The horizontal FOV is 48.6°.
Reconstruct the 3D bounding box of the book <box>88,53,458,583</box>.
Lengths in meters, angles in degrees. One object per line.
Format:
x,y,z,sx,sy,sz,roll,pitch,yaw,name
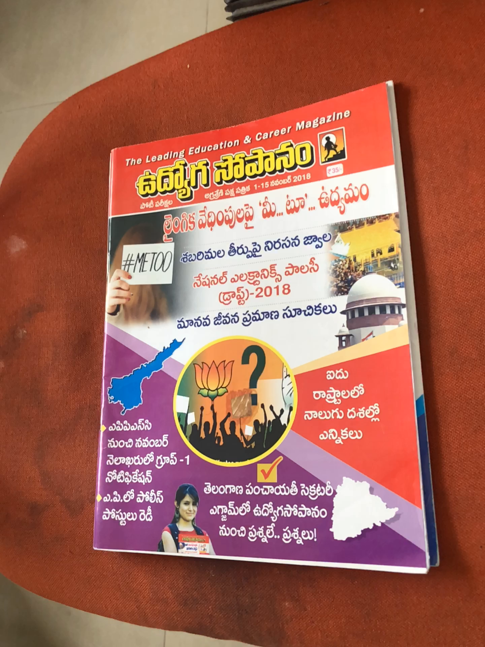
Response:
0.008,-0.004,0.350,0.217,0.040,0.295,-6,76,23,book
